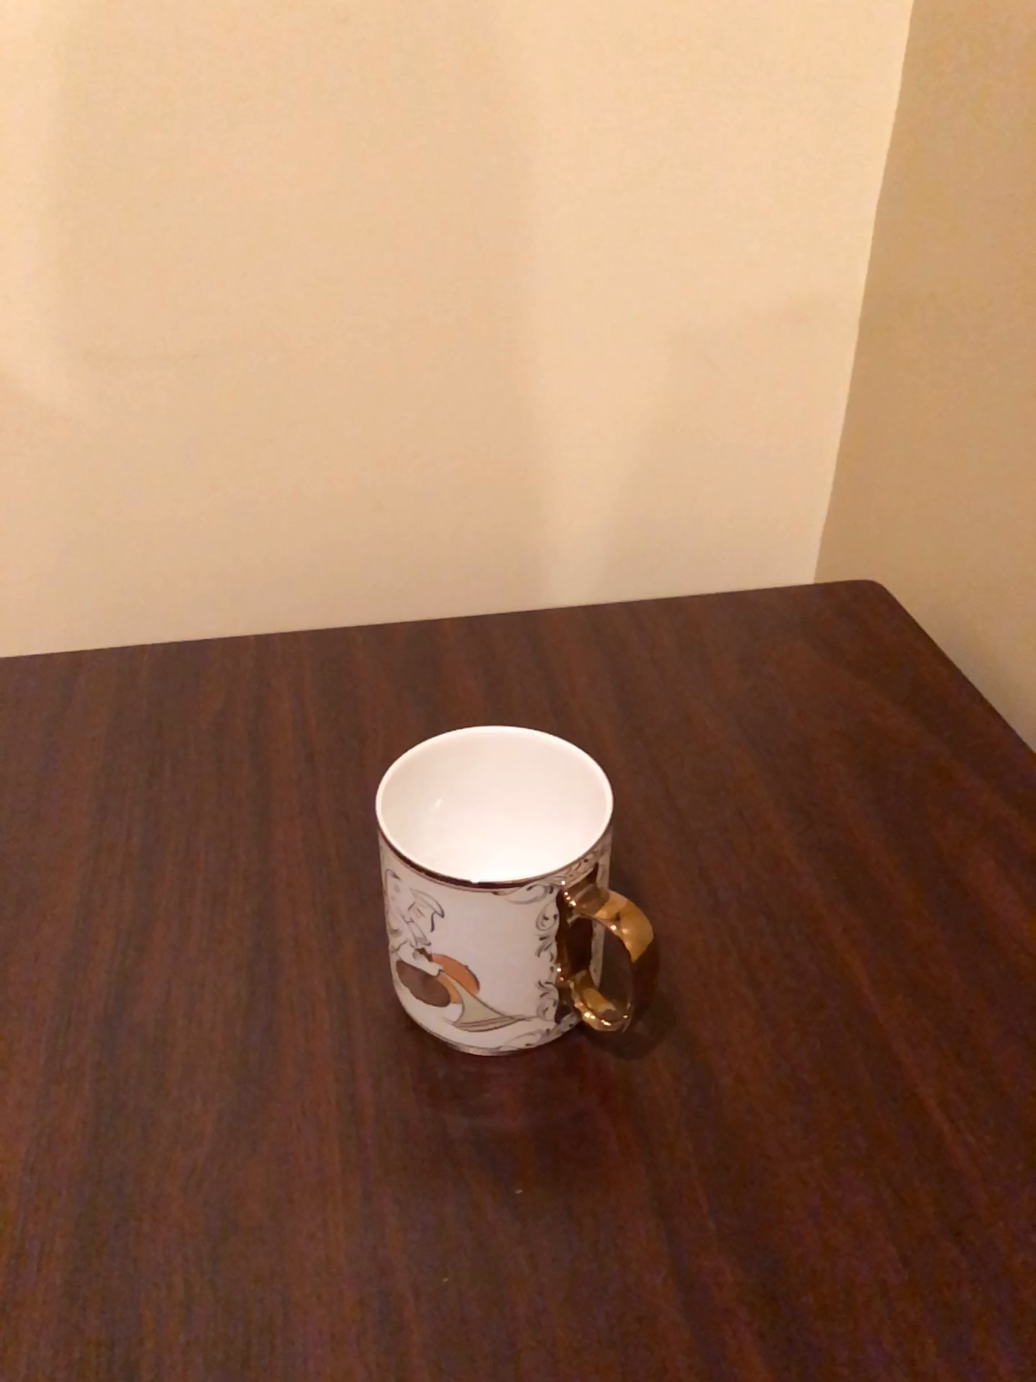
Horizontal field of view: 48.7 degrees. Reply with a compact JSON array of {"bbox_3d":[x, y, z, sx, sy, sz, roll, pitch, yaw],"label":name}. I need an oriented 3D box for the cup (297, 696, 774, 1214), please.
[{"bbox_3d":[0.004,0.091,0.438,0.140,0.100,0.100,29,43,34],"label":"cup"}]
